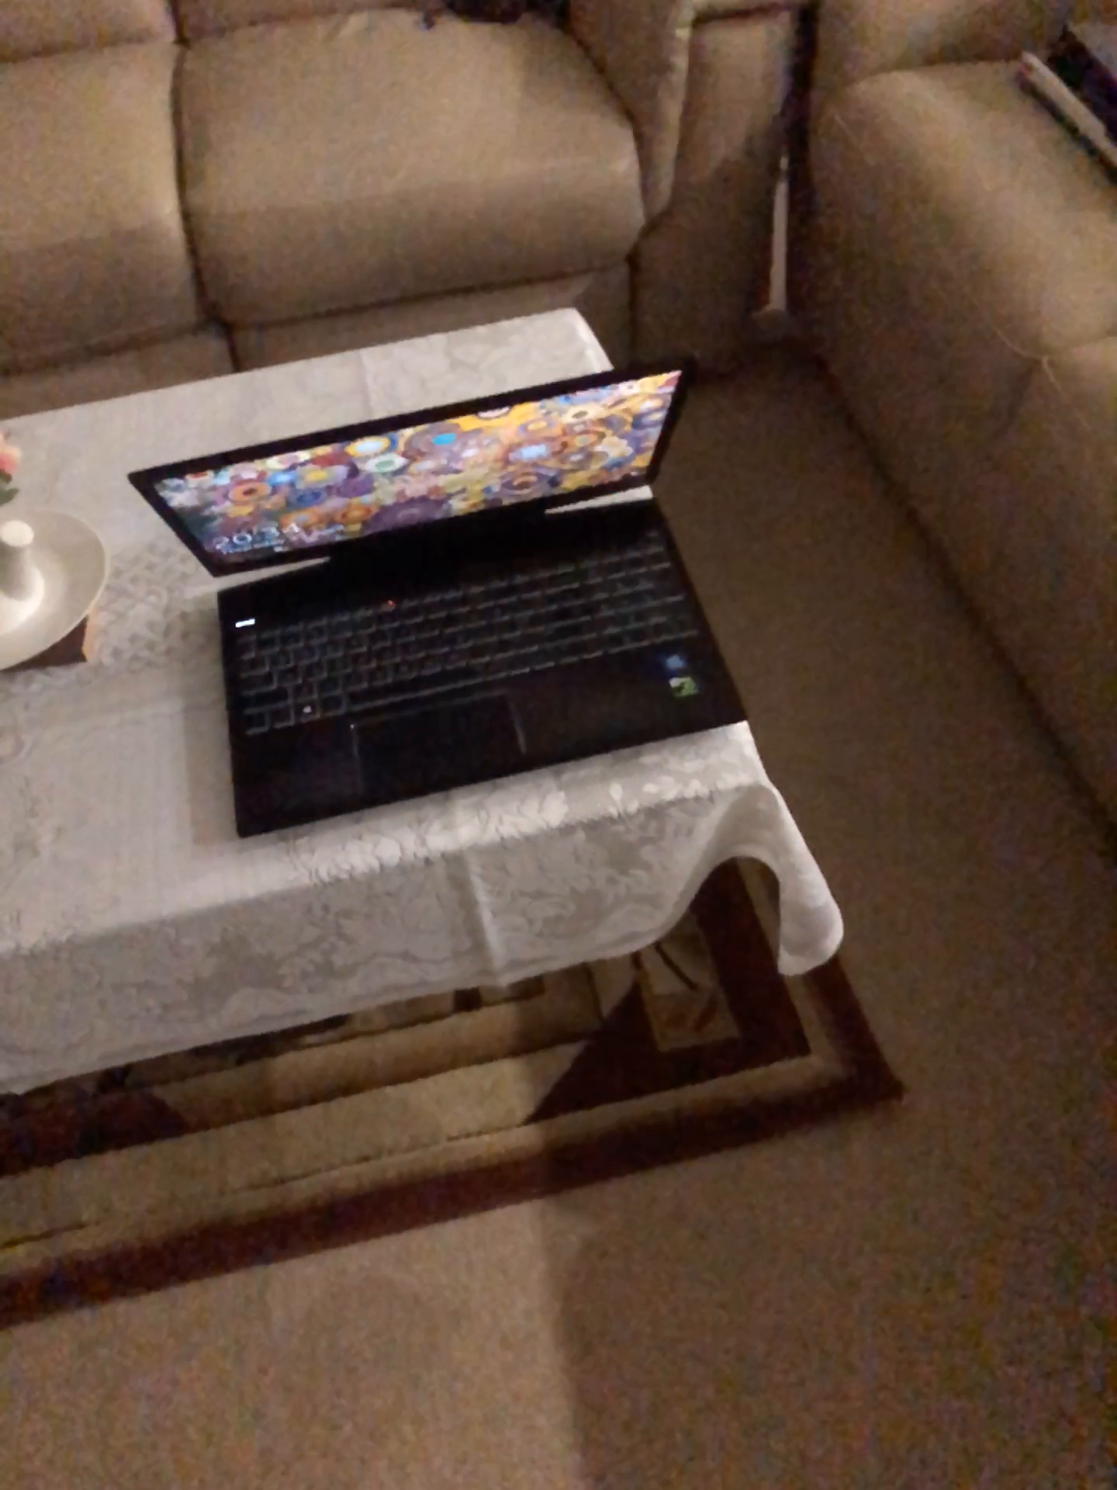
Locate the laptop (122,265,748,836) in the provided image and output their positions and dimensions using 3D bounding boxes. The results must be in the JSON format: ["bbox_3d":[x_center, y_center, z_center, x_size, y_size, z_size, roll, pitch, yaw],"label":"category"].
[{"bbox_3d":[-0.083,-0.135,0.832,0.355,0.199,0.244,-14,52,-5],"label":"laptop"}]
